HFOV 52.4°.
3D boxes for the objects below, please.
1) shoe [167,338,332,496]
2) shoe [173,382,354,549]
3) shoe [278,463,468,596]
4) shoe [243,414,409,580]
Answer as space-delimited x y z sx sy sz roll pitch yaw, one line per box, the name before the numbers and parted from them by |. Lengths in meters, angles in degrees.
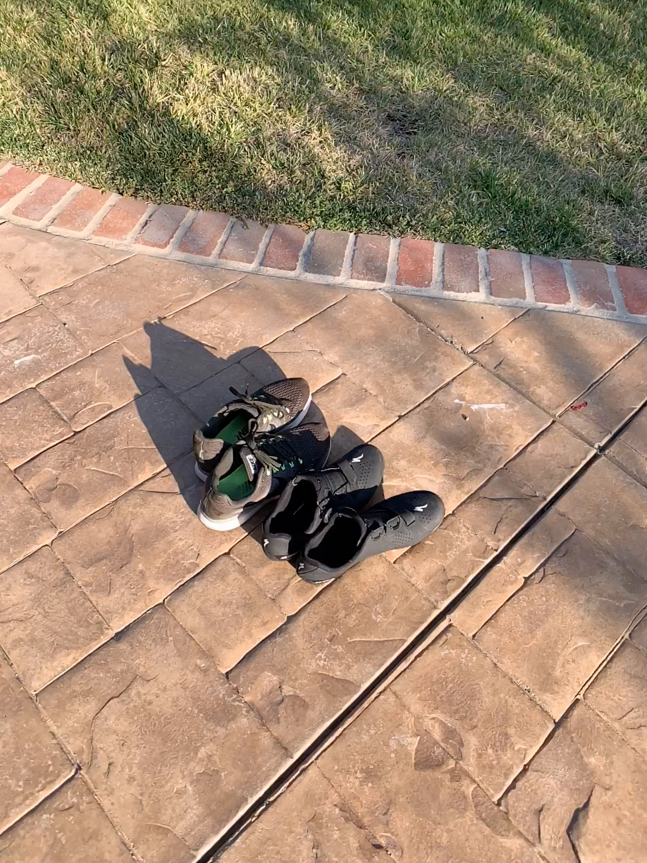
shoe | -0.128 -0.032 1.206 0.120 0.100 0.291 37 59 22
shoe | -0.098 0.052 1.135 0.290 0.100 0.120 -35 62 -27
shoe | 0.080 0.154 1.067 0.290 0.060 0.100 -19 56 -18
shoe | 0.008 0.101 1.088 0.110 0.070 0.280 37 59 22
